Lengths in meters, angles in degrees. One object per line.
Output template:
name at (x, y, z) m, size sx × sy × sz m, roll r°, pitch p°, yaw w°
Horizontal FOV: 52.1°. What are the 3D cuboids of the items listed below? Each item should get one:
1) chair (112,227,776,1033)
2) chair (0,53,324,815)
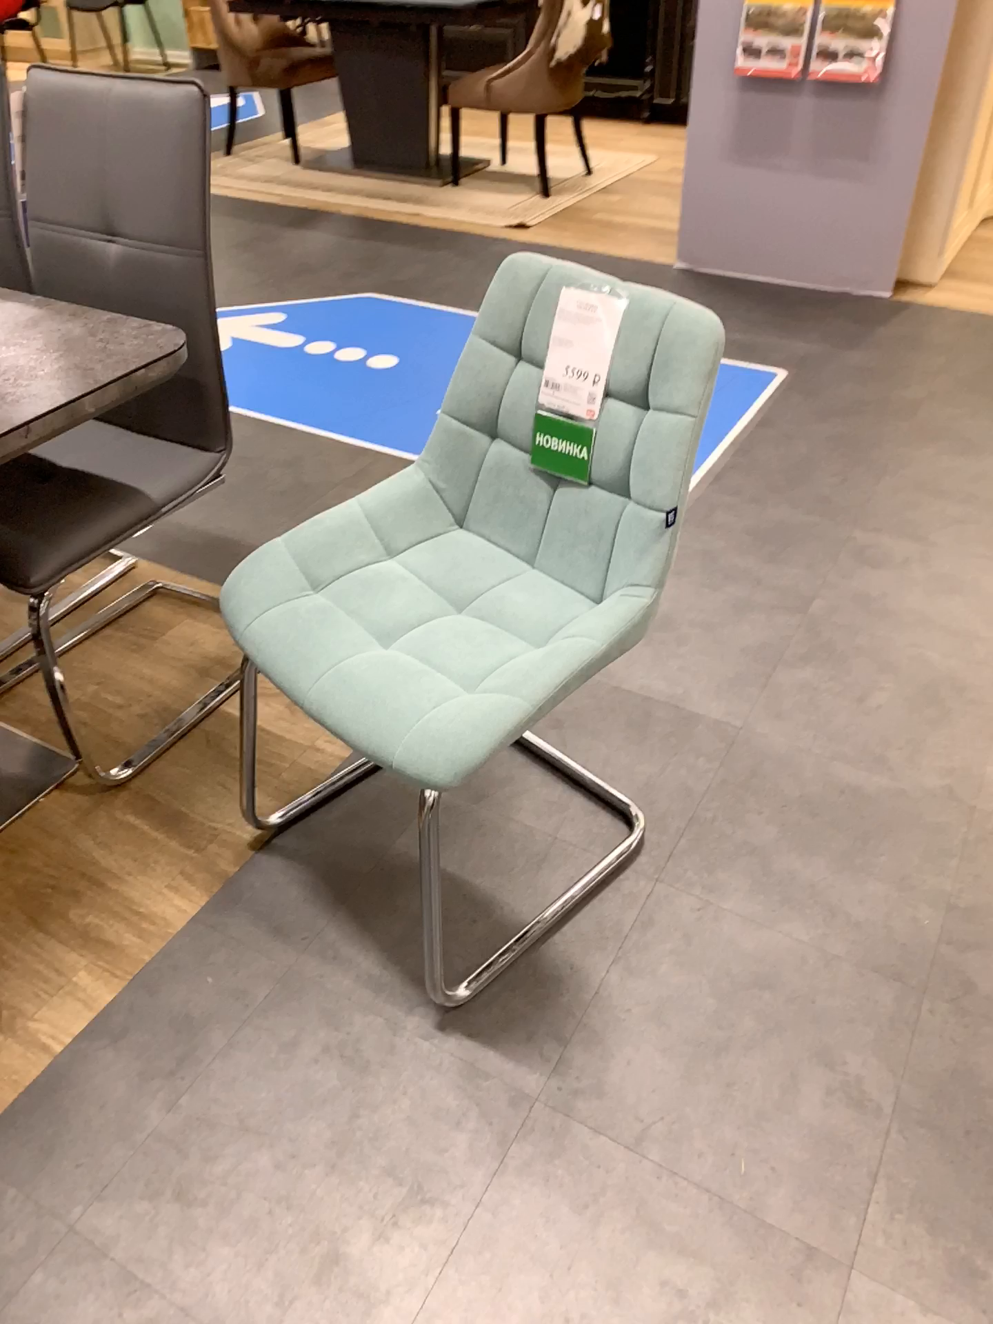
chair at (-0.049, -0.060, 1.402) m, size 0.511 × 0.825 × 0.552 m, roll 31°, pitch 48°, yaw 34°
chair at (-0.731, -0.374, 1.685) m, size 0.511 × 1.004 × 0.573 m, roll 22°, pitch 44°, yaw 26°
